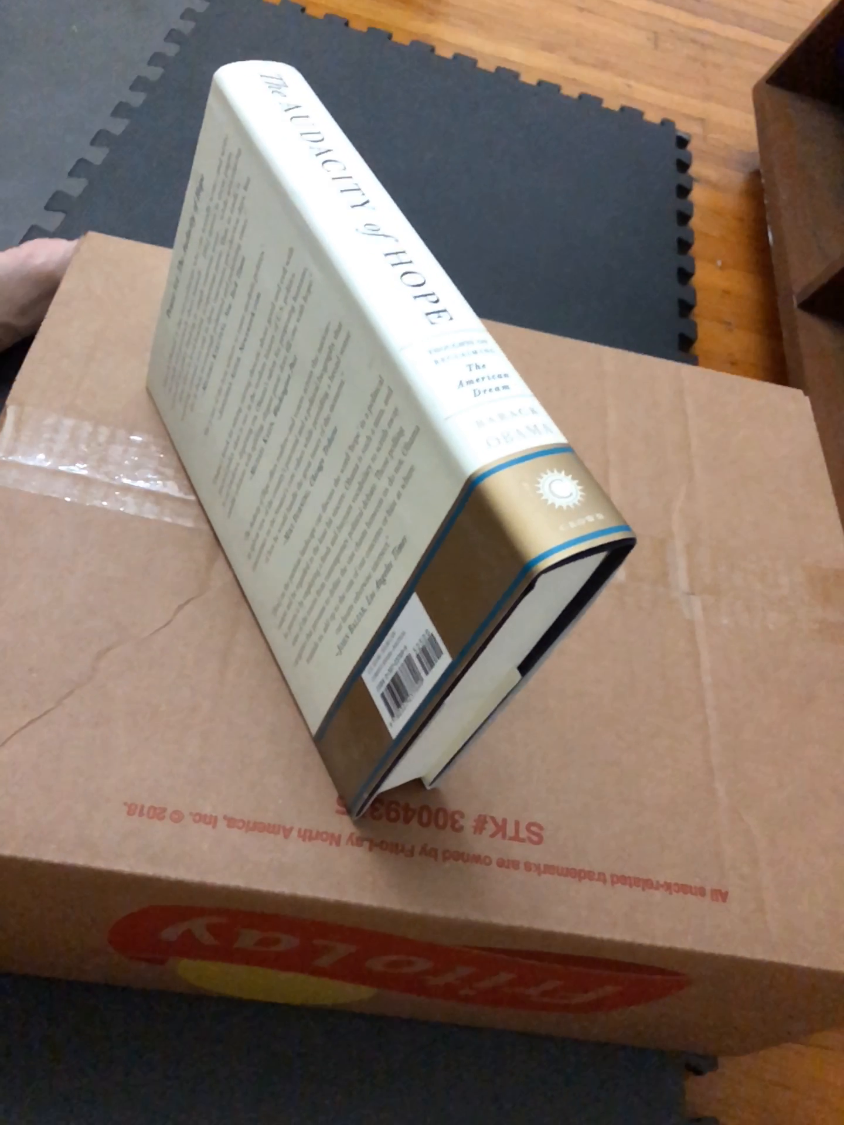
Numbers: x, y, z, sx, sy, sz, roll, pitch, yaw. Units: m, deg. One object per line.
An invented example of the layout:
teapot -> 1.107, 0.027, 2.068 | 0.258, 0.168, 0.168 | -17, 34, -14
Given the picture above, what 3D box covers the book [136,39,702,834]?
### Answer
book -> -0.030, -0.049, 0.370 | 0.060, 0.169, 0.251 | -11, 60, -34
